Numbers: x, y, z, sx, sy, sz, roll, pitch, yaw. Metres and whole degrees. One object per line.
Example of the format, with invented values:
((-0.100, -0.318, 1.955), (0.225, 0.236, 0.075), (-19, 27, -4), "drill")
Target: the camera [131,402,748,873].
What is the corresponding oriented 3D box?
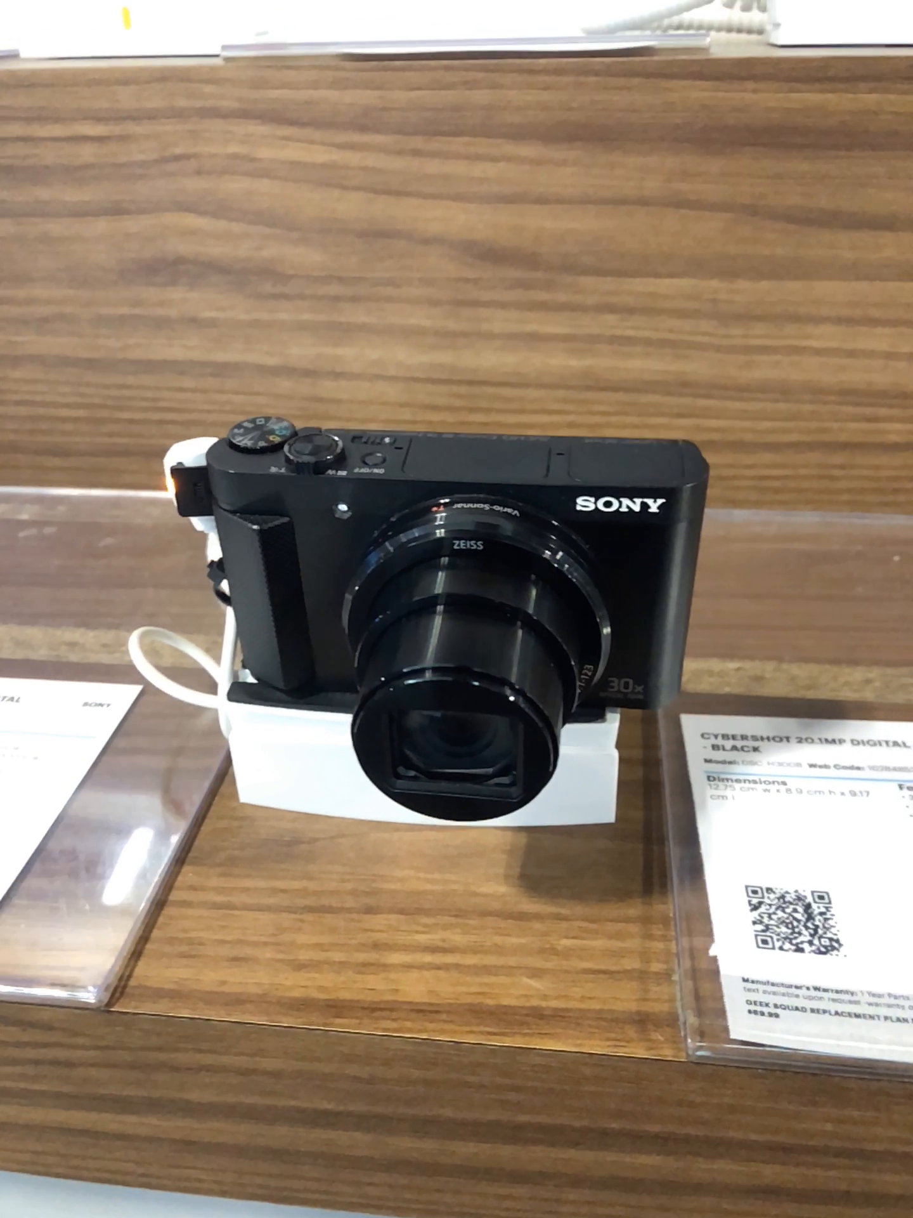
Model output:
((0.000, 0.002, 0.206), (0.100, 0.070, 0.060), (3, 28, 7), "camera")
